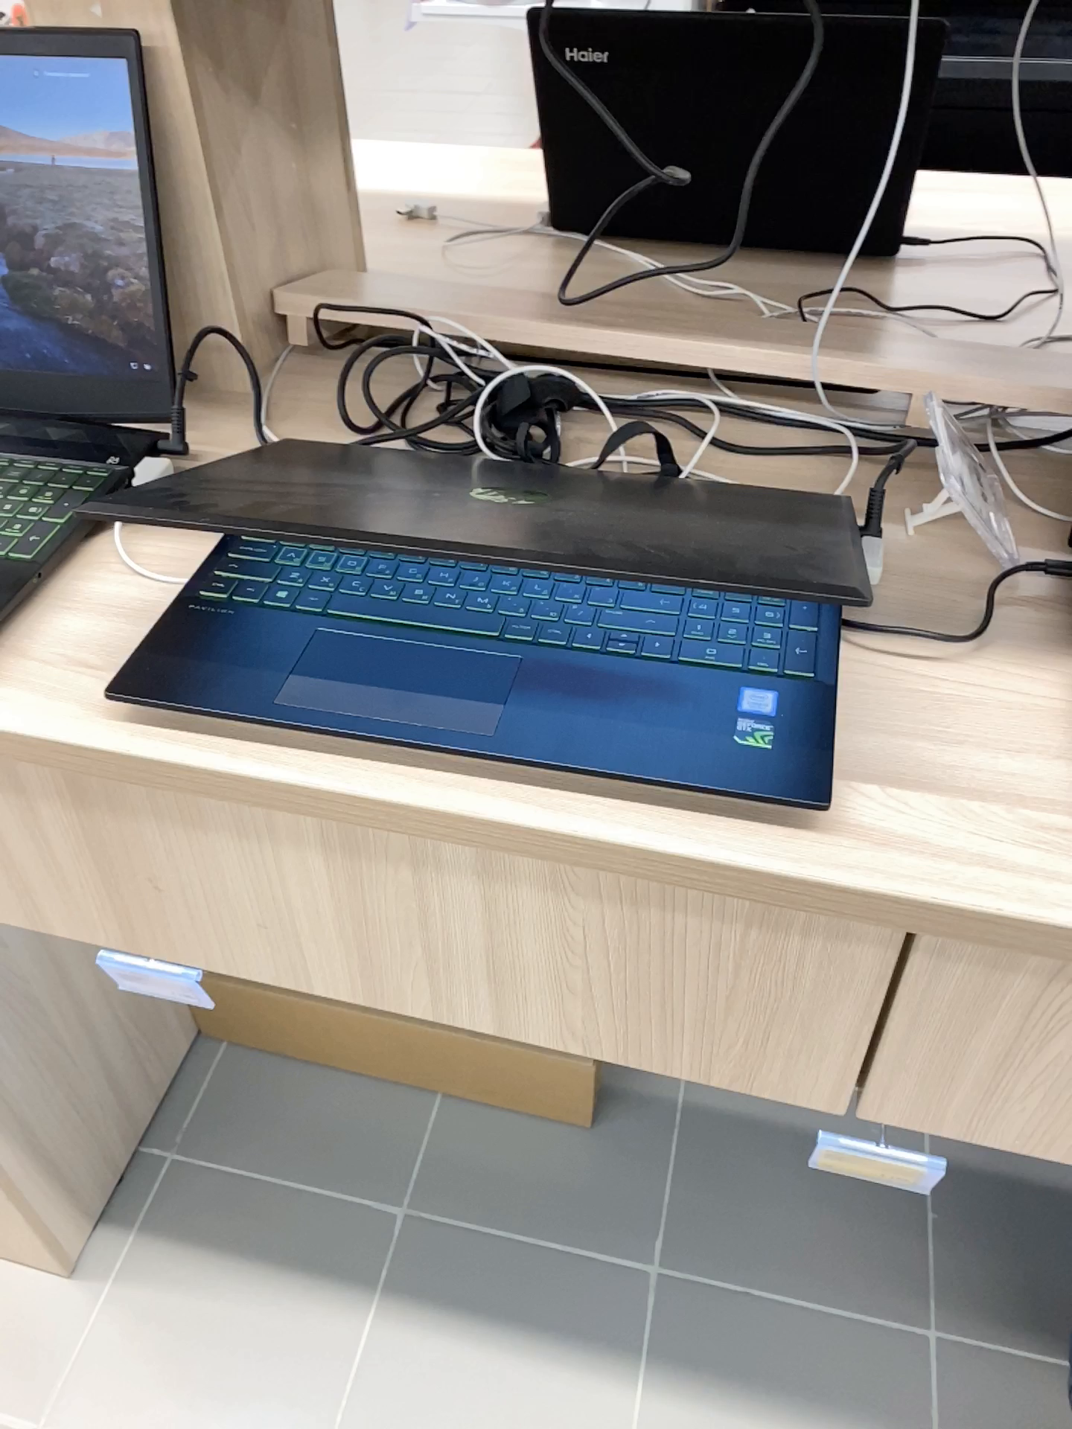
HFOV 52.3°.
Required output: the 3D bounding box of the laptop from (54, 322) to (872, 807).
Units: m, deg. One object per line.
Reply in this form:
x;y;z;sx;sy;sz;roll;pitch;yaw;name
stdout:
-0.015;-0.099;0.583;0.361;0.092;0.243;8;43;9;laptop
